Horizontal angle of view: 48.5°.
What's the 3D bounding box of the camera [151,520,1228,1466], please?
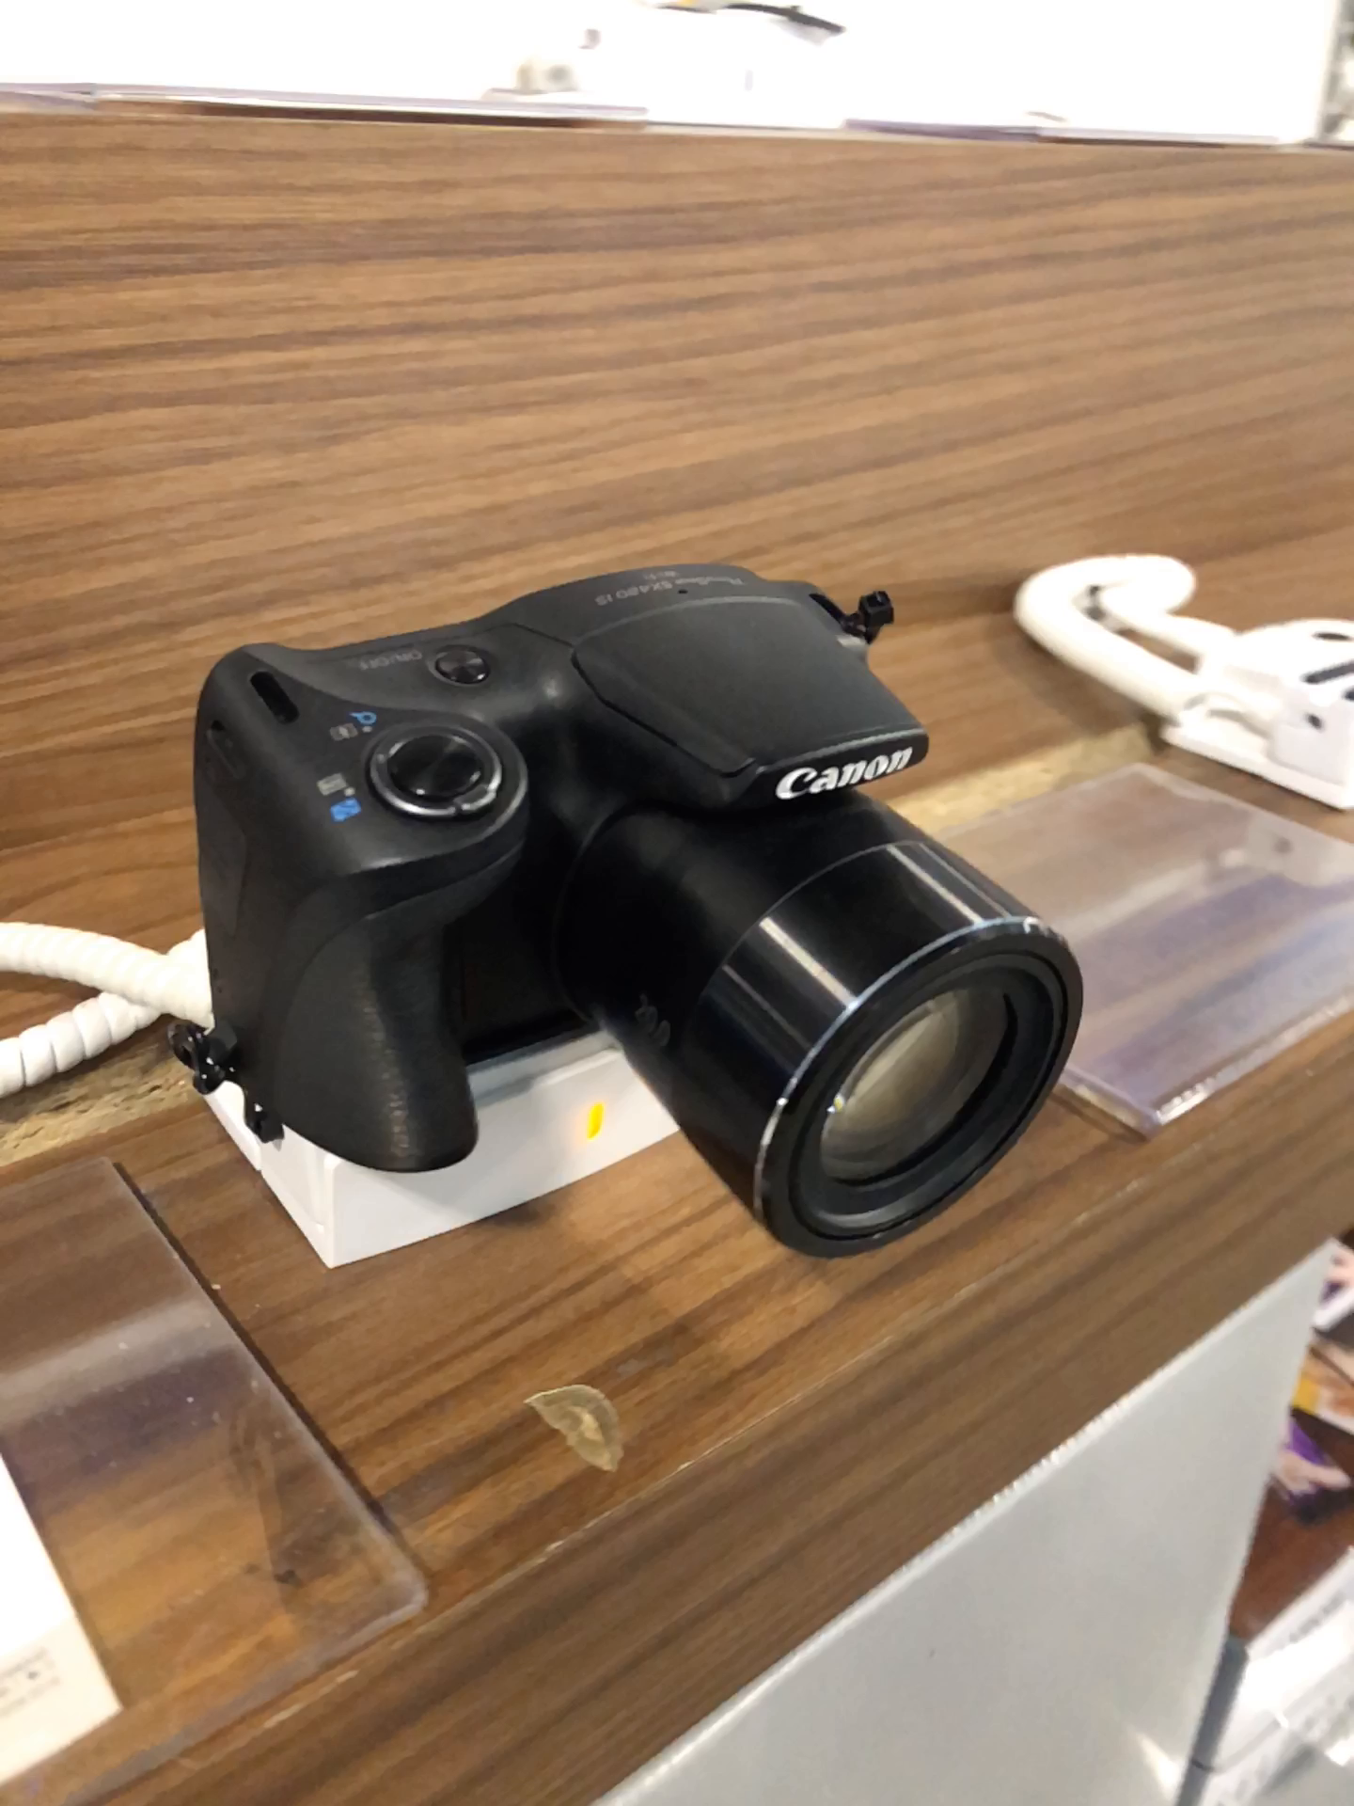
[{"bbox_3d":[-0.001,-0.002,0.203,0.100,0.070,0.090,-18,34,-34],"label":"camera"}]
